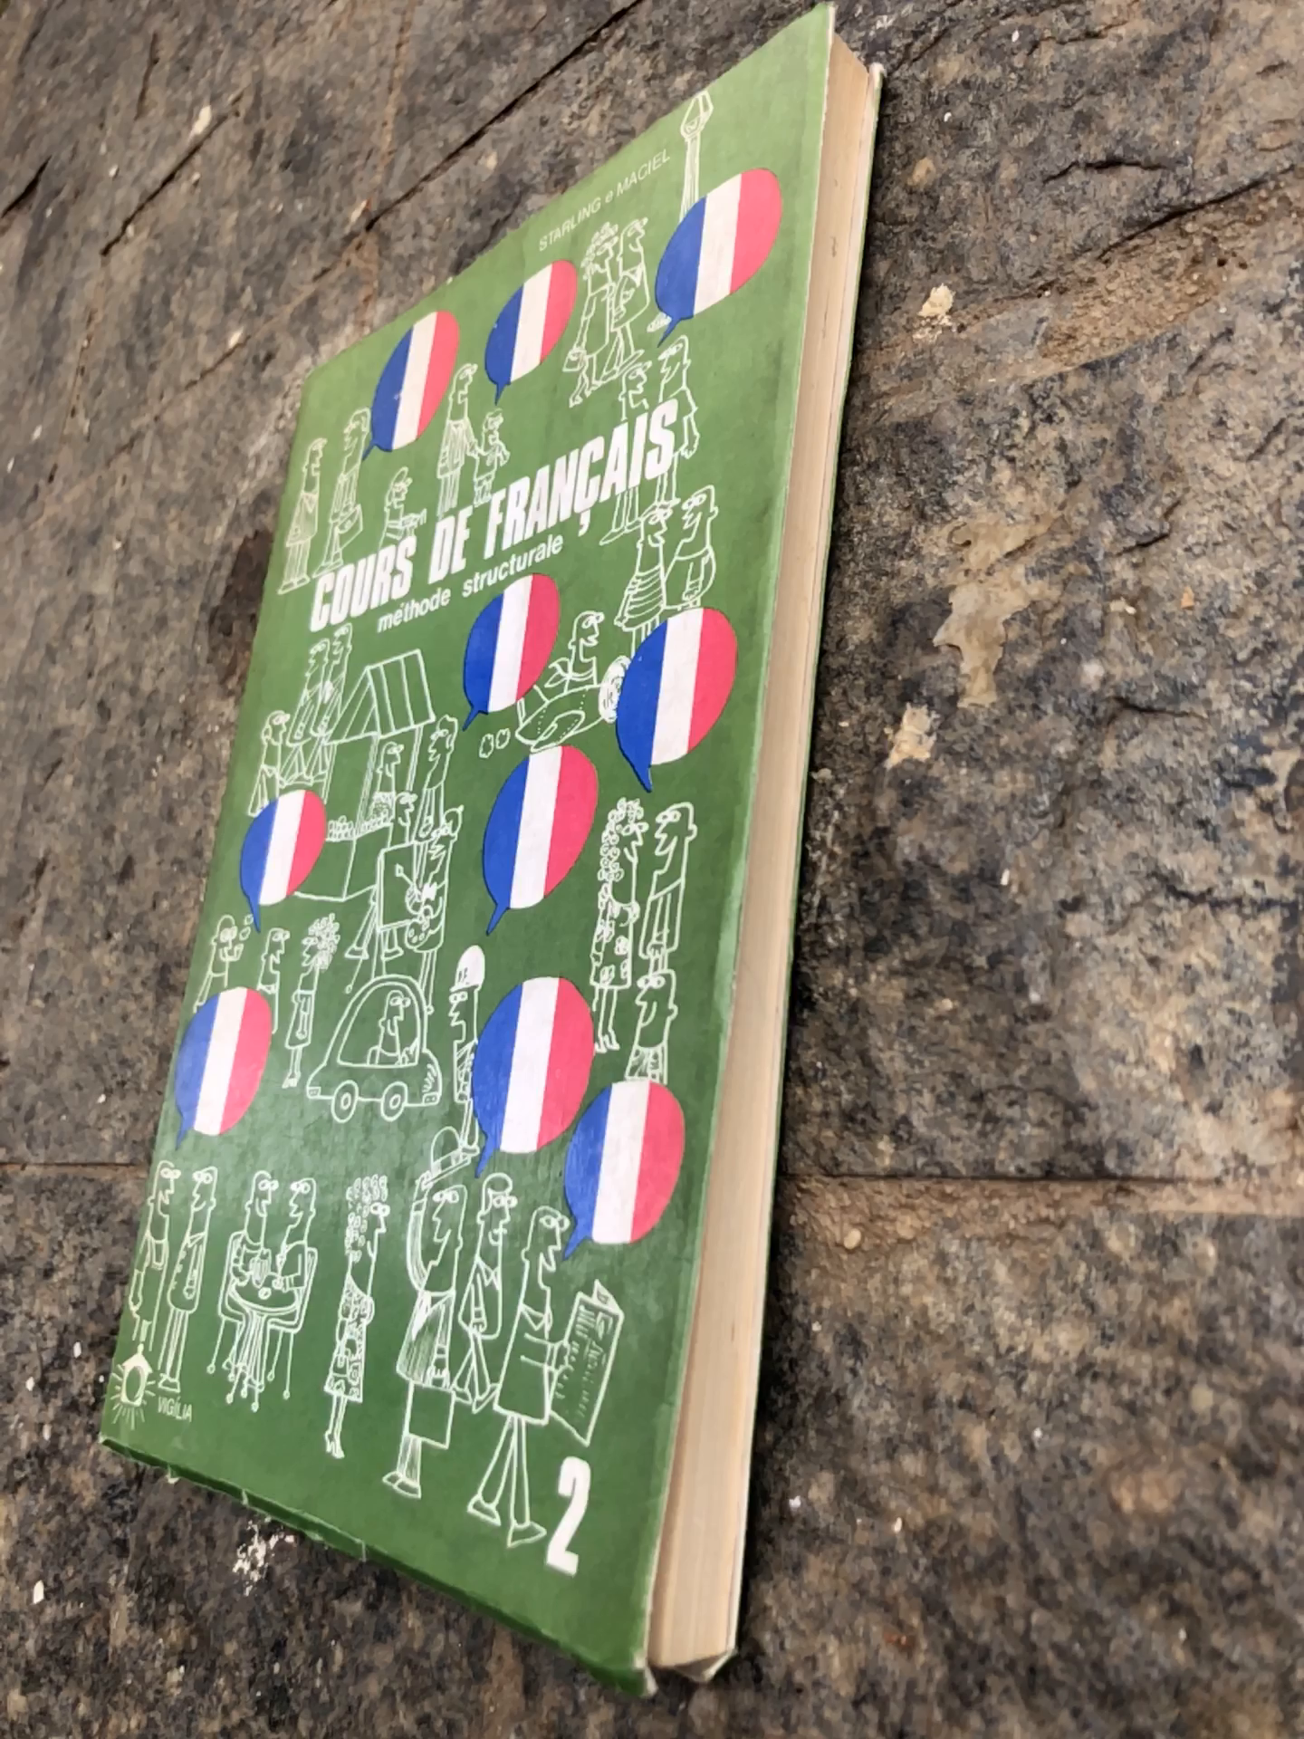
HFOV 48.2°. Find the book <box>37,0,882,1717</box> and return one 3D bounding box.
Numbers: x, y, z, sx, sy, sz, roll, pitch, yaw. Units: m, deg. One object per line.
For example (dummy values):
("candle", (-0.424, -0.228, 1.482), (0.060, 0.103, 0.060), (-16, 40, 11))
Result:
("book", (-0.040, -0.008, 0.234), (0.168, 0.013, 0.211), (-10, 68, 48))
